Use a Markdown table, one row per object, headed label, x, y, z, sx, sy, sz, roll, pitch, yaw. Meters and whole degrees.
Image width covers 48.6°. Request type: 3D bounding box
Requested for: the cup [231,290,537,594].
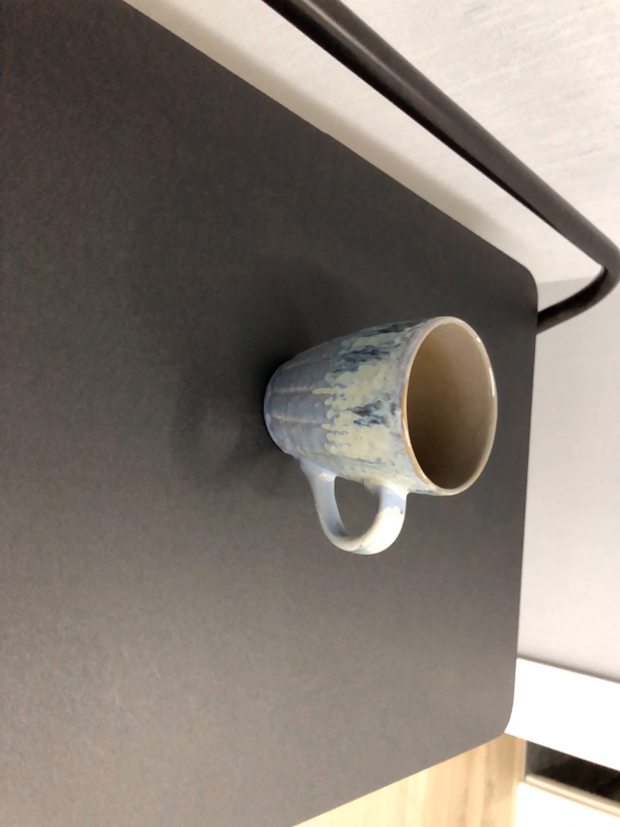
| label | x | y | z | sx | sy | sz | roll | pitch | yaw |
| --- | --- | --- | --- | --- | --- | --- | --- | --- | --- |
| cup | 0.039 | 0.019 | 0.350 | 0.089 | 0.107 | 0.120 | 23 | 72 | -44 |
